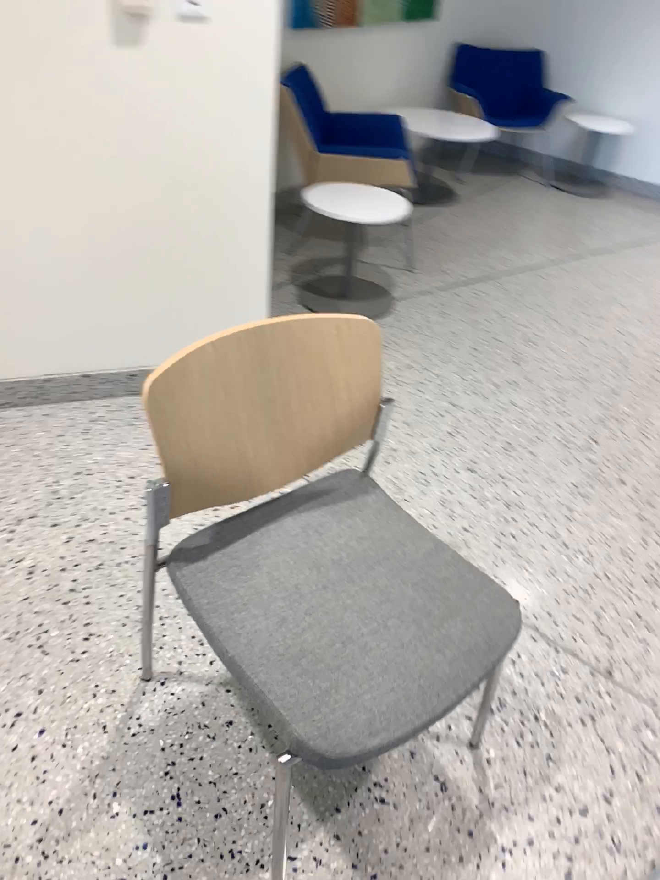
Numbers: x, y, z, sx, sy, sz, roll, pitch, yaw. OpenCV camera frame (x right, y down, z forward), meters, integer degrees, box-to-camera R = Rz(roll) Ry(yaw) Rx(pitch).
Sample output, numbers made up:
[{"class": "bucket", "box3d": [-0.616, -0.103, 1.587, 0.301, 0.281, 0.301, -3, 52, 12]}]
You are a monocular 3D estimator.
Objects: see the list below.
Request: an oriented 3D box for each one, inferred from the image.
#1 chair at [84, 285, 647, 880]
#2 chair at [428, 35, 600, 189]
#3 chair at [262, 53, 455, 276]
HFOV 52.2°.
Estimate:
[{"class": "chair", "box3d": [-0.003, 0.255, 1.165, 0.539, 0.768, 0.594, -20, 44, -31]}, {"class": "chair", "box3d": [1.207, -2.271, 4.658, 0.747, 0.768, 0.818, -1, 37, -10]}, {"class": "chair", "box3d": [0.118, -1.351, 3.267, 0.761, 0.758, 0.774, 6, 36, 0]}]
